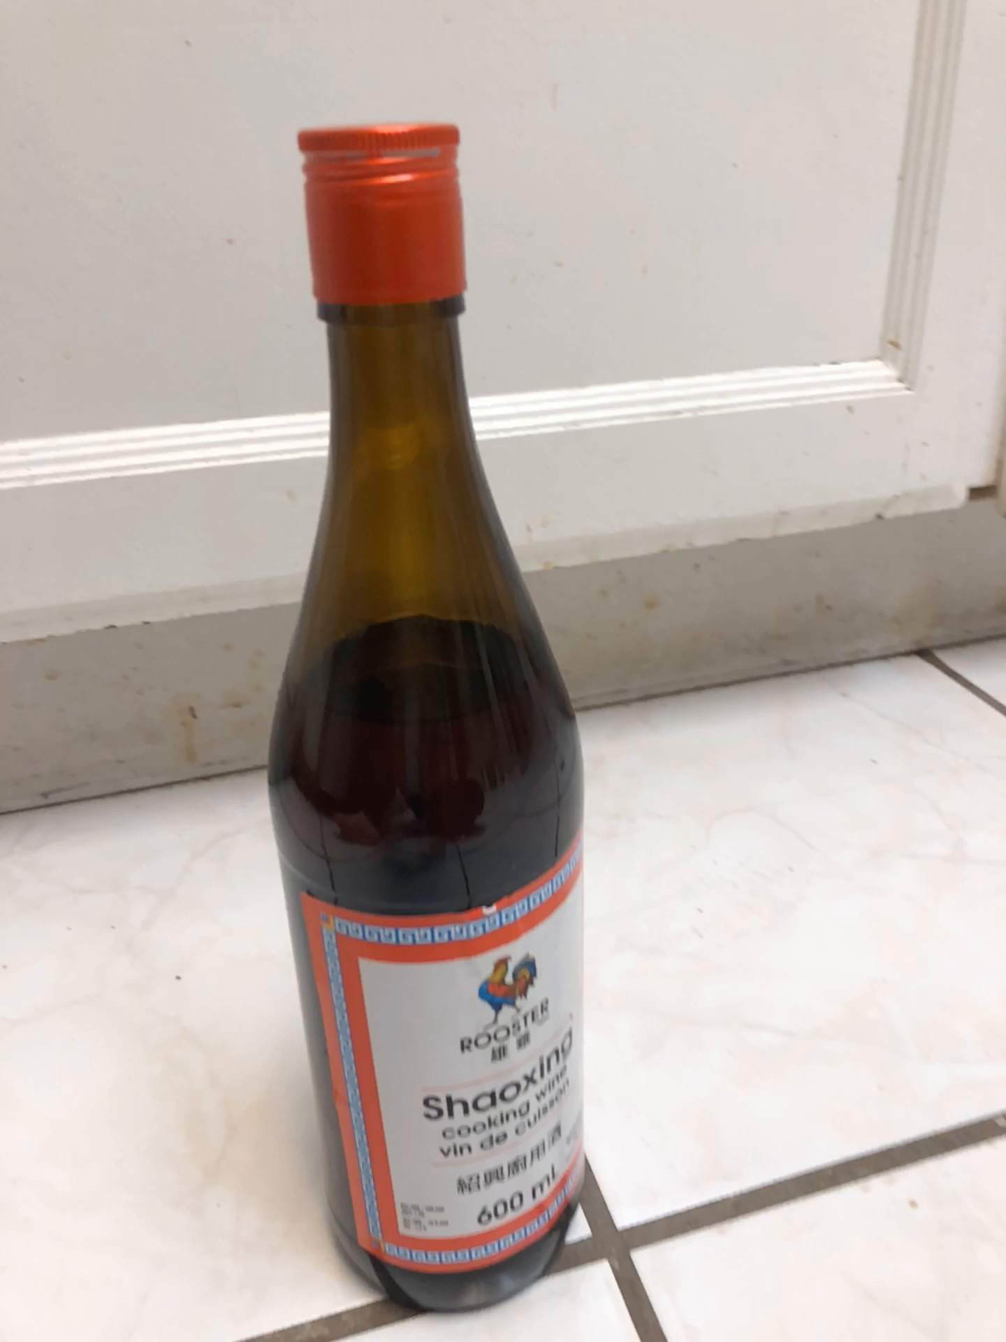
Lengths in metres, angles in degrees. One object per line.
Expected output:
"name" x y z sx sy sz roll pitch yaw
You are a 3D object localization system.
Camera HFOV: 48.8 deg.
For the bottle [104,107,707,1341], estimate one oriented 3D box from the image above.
"bottle" -0.016 0.028 0.254 0.080 0.278 0.070 -18 31 -29
